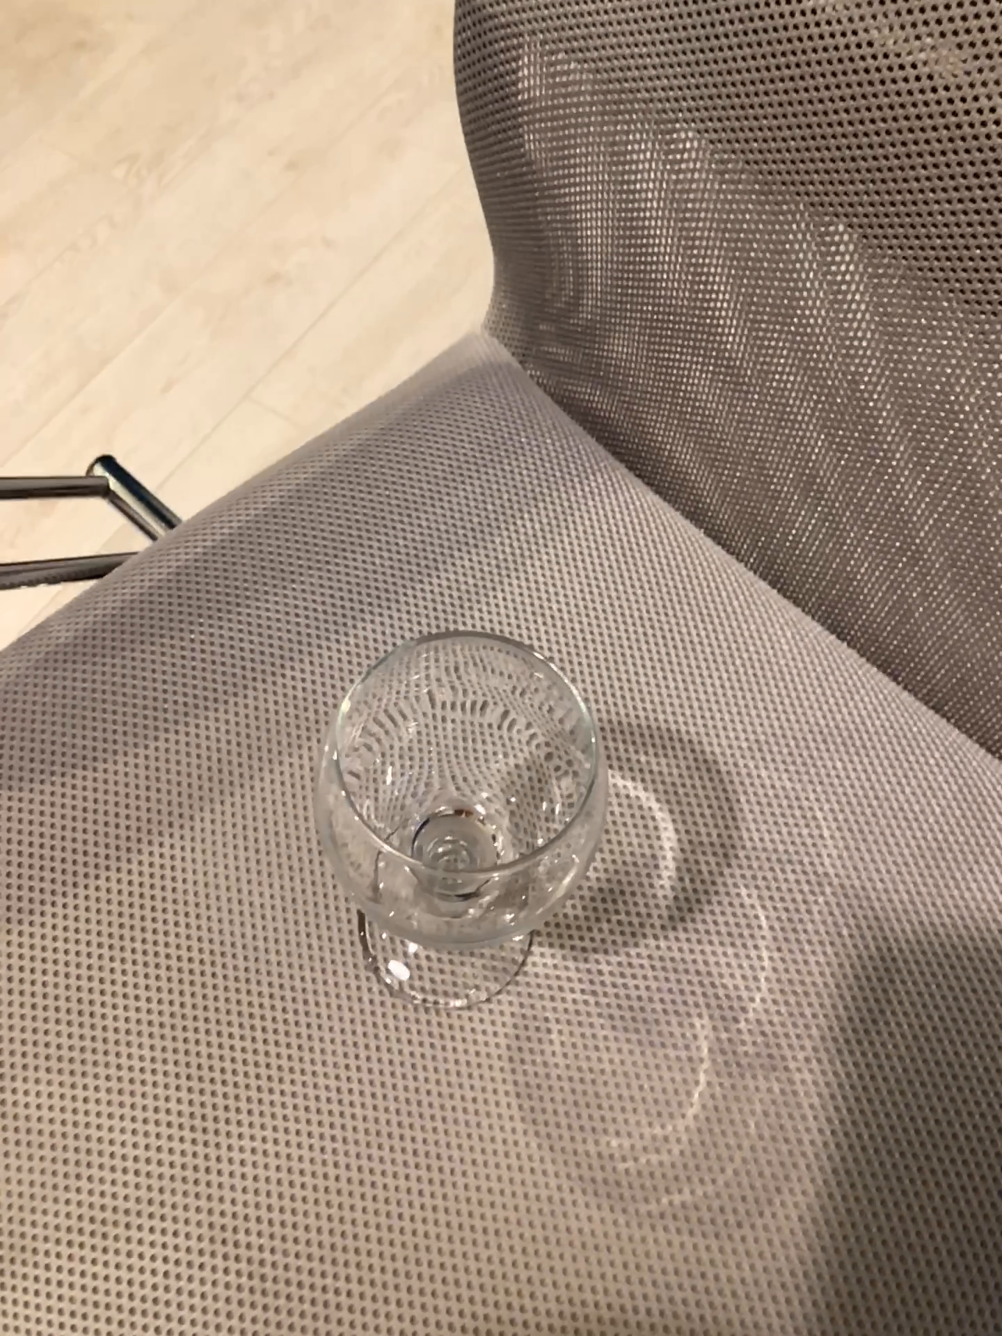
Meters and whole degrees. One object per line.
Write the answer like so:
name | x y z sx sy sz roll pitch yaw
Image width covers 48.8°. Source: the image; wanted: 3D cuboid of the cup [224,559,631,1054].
cup | -0.012 0.055 0.339 0.080 0.173 0.089 8 64 6
